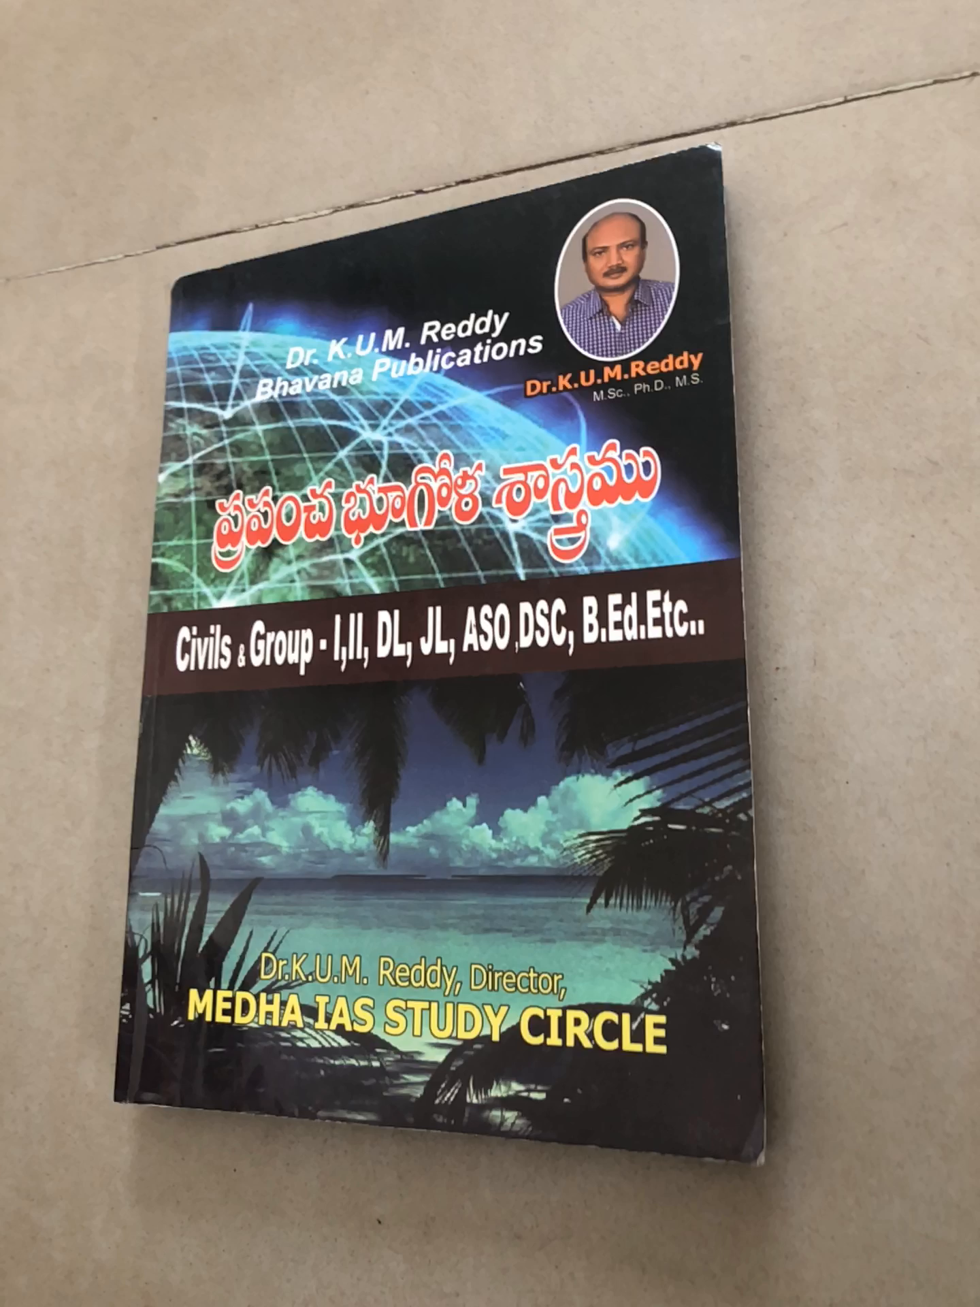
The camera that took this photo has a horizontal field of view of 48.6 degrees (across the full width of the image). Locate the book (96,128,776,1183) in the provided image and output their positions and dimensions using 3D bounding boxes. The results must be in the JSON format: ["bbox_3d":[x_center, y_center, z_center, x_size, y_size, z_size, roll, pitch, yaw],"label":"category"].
[{"bbox_3d":[-0.020,-0.003,0.308,0.180,0.030,0.260,-4,78,21],"label":"book"}]
